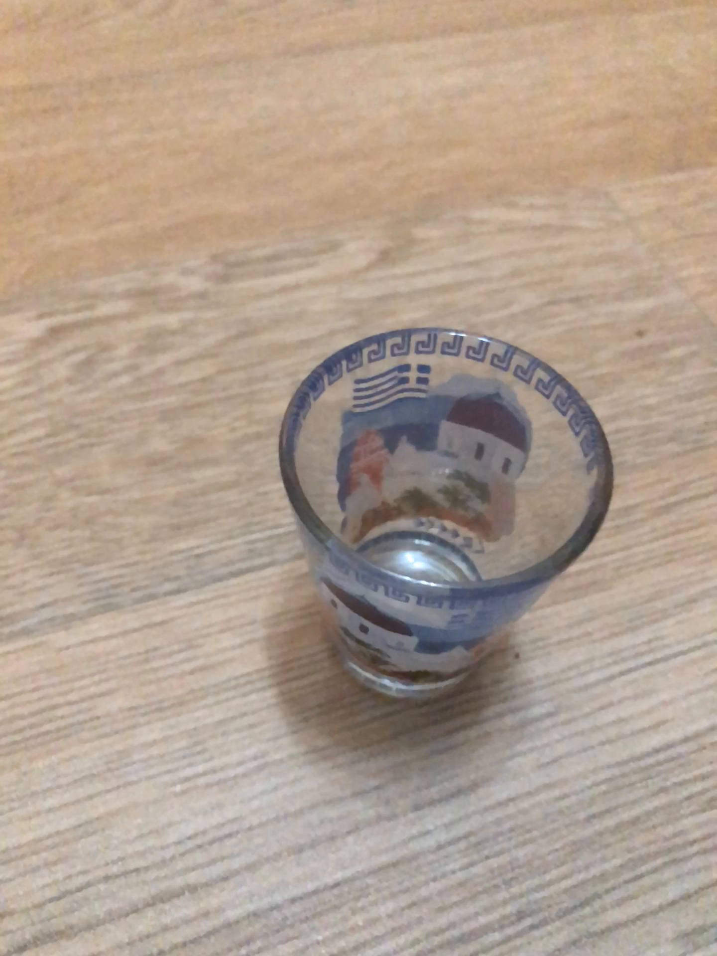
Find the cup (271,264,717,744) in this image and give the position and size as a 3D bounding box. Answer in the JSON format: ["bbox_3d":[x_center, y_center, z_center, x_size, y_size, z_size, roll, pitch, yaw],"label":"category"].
[{"bbox_3d":[0.016,0.006,0.144,0.050,0.060,0.050,1,55,-2],"label":"cup"}]
